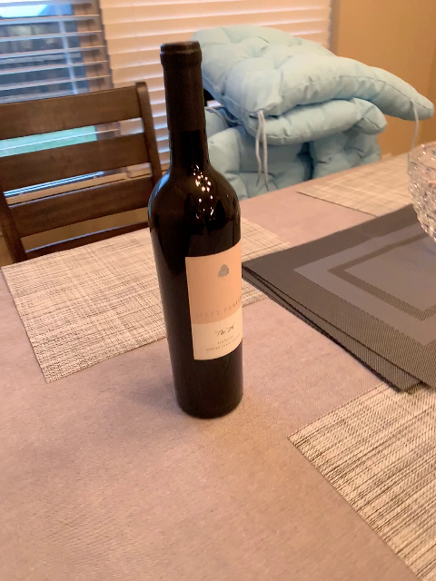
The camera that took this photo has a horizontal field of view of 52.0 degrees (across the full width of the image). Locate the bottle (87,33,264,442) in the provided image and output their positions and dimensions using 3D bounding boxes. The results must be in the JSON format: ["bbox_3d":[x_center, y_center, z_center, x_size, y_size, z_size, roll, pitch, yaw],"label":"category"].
[{"bbox_3d":[-0.023,-0.031,0.389,0.083,0.328,0.090,-3,31,2],"label":"bottle"}]
